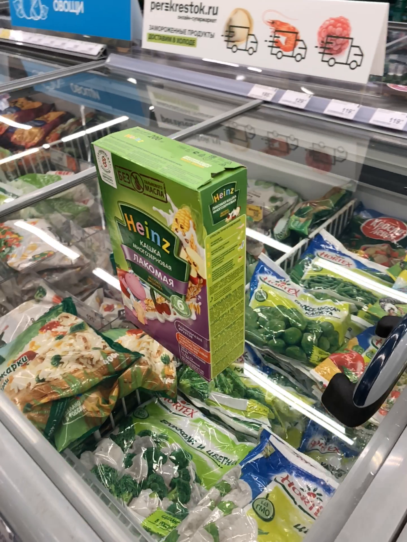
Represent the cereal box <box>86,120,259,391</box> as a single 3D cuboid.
[{"bbox_3d":[-0.024,-0.013,0.394,0.050,0.199,0.140,-32,45,-33],"label":"cereal box"}]
